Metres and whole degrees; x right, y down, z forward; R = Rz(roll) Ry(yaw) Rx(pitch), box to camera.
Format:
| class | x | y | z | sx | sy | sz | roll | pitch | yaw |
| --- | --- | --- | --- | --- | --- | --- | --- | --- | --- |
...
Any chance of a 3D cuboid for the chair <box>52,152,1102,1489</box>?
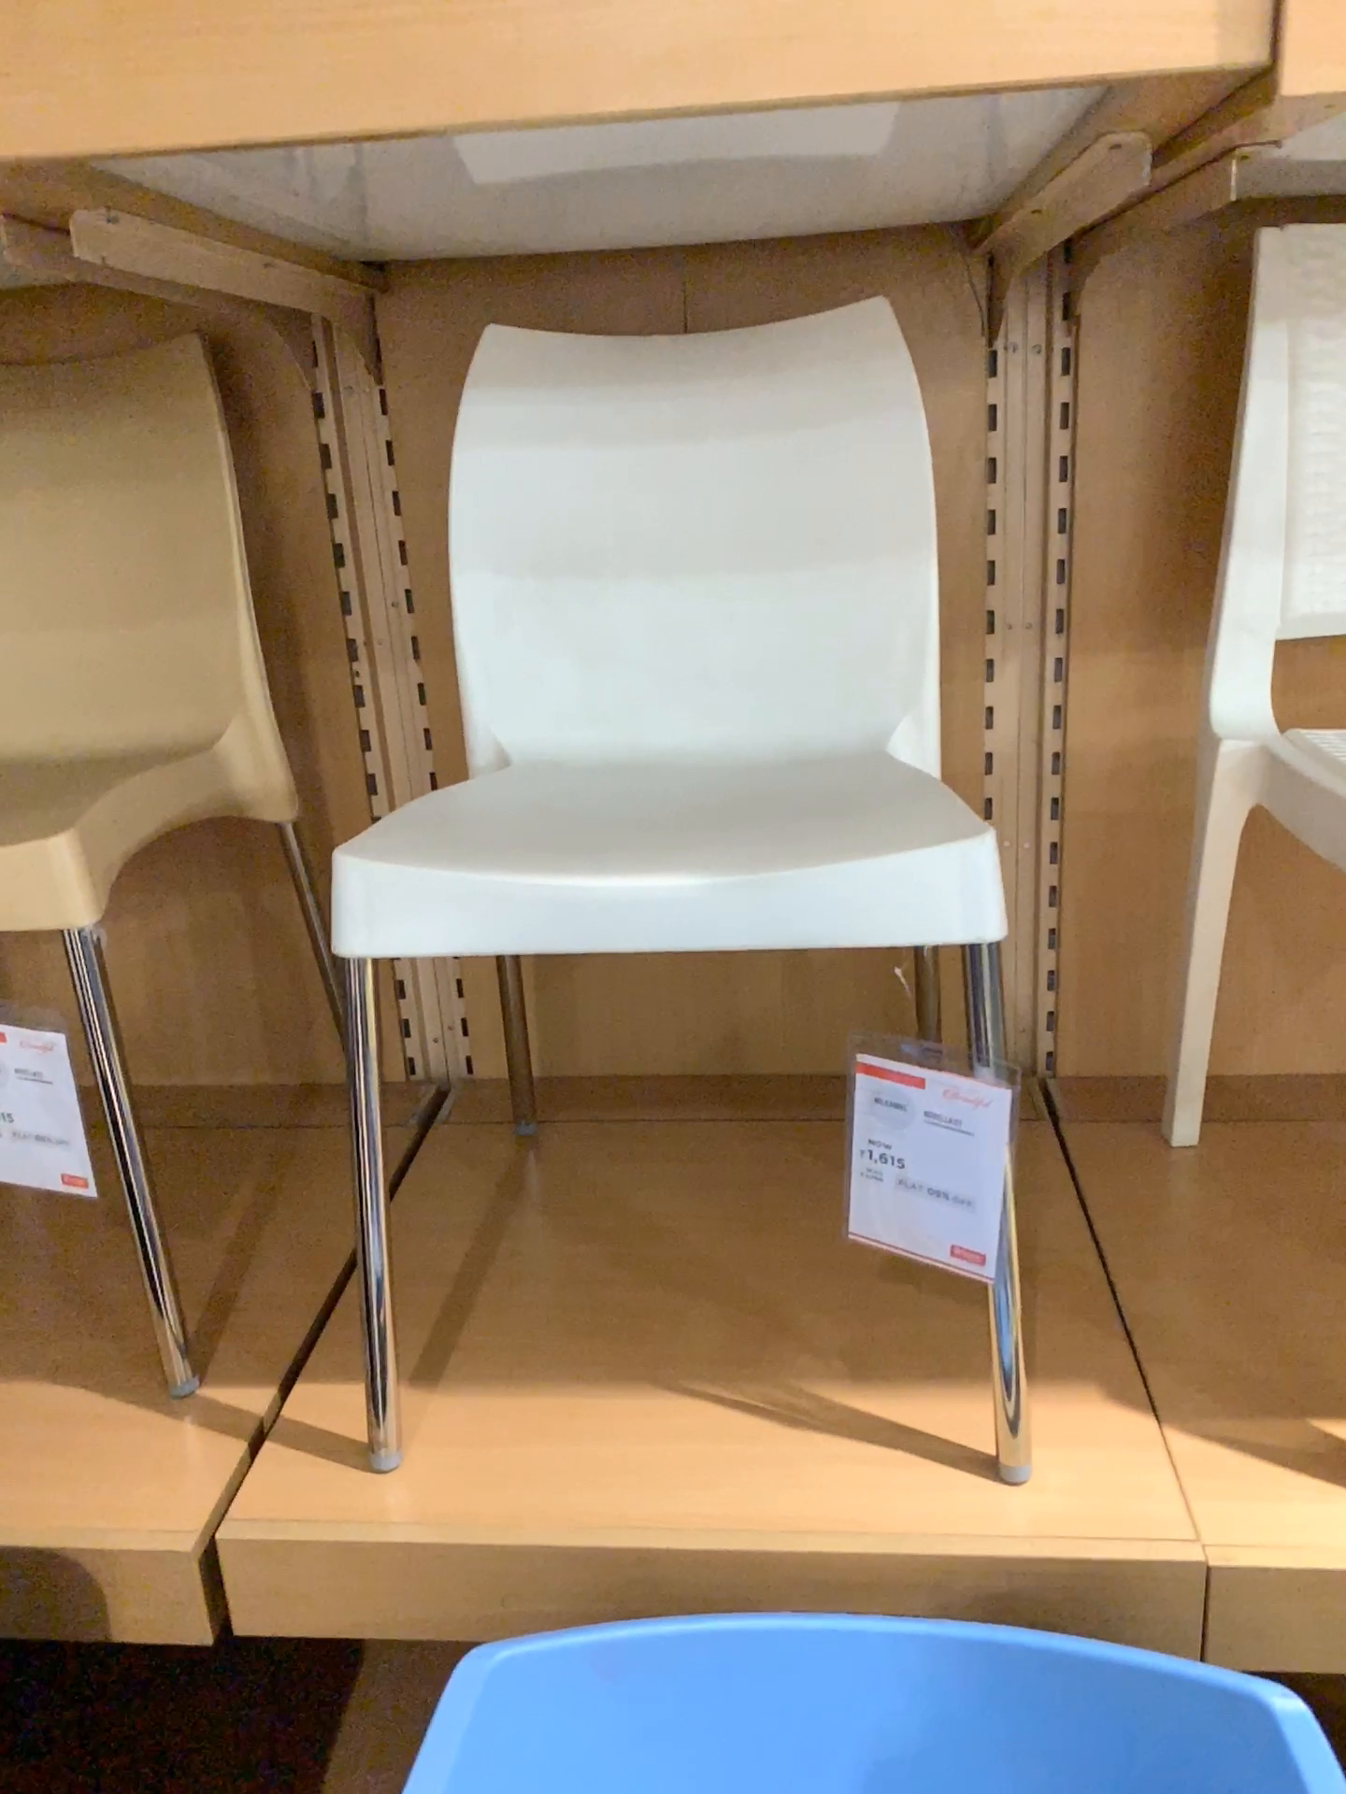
| class | x | y | z | sx | sy | sz | roll | pitch | yaw |
| --- | --- | --- | --- | --- | --- | --- | --- | --- | --- |
| chair | -0.013 | -0.083 | 1.253 | 0.610 | 0.917 | 0.682 | -2 | 19 | 5 |
